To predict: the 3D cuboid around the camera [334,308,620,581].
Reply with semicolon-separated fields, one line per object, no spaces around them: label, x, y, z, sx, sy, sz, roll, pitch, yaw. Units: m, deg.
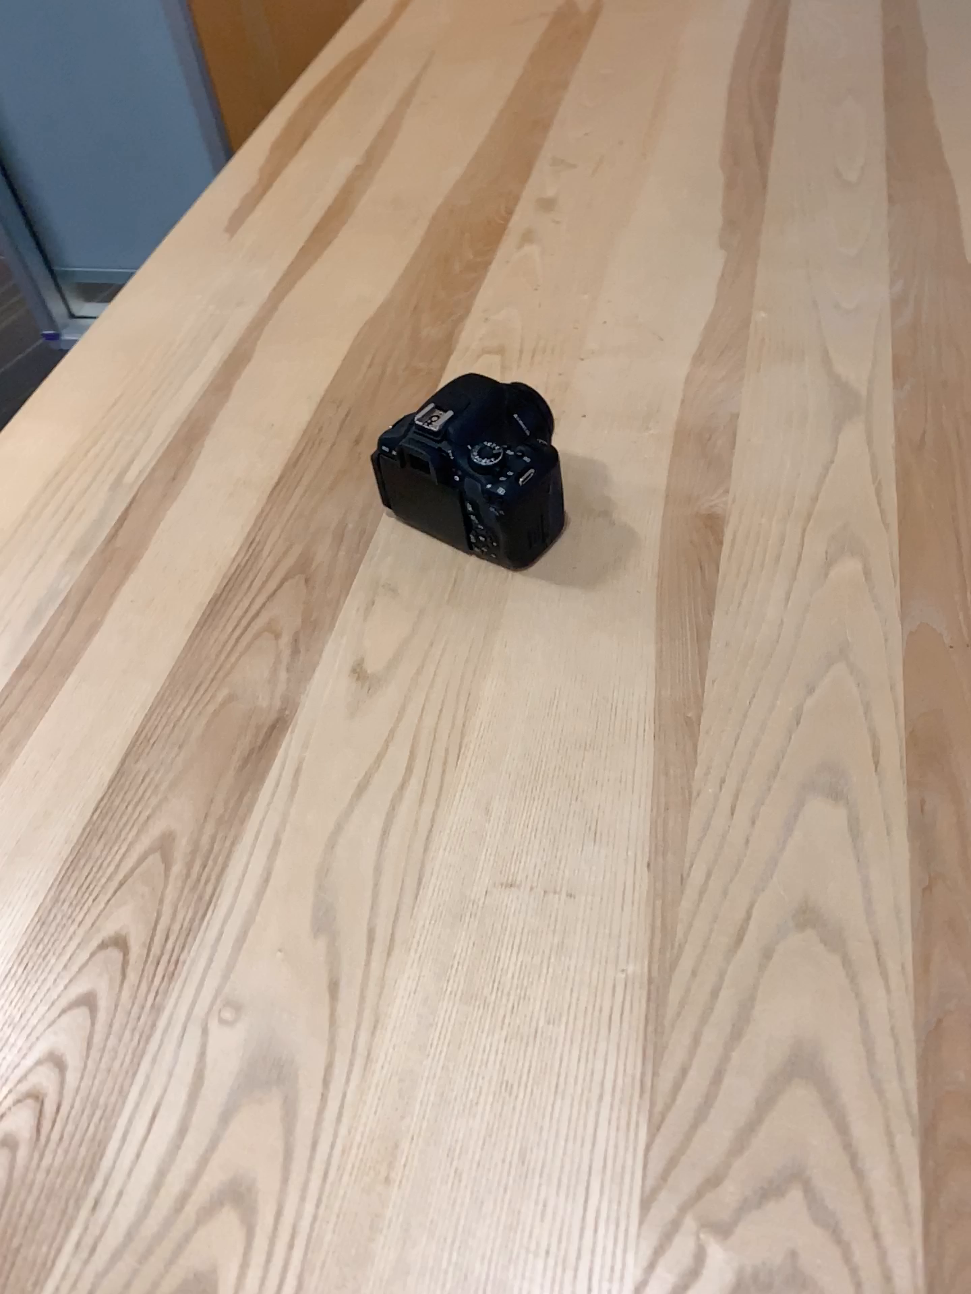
camera;-0.001;-0.144;0.692;0.145;0.100;0.120;27;58;28
